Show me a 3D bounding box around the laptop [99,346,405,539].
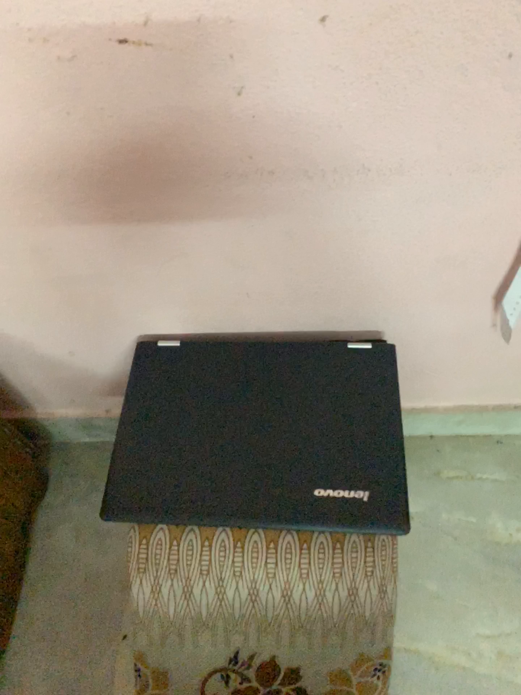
[{"bbox_3d":[-0.005,0.095,0.590,0.312,0.012,0.214,1,61,6],"label":"laptop"}]
